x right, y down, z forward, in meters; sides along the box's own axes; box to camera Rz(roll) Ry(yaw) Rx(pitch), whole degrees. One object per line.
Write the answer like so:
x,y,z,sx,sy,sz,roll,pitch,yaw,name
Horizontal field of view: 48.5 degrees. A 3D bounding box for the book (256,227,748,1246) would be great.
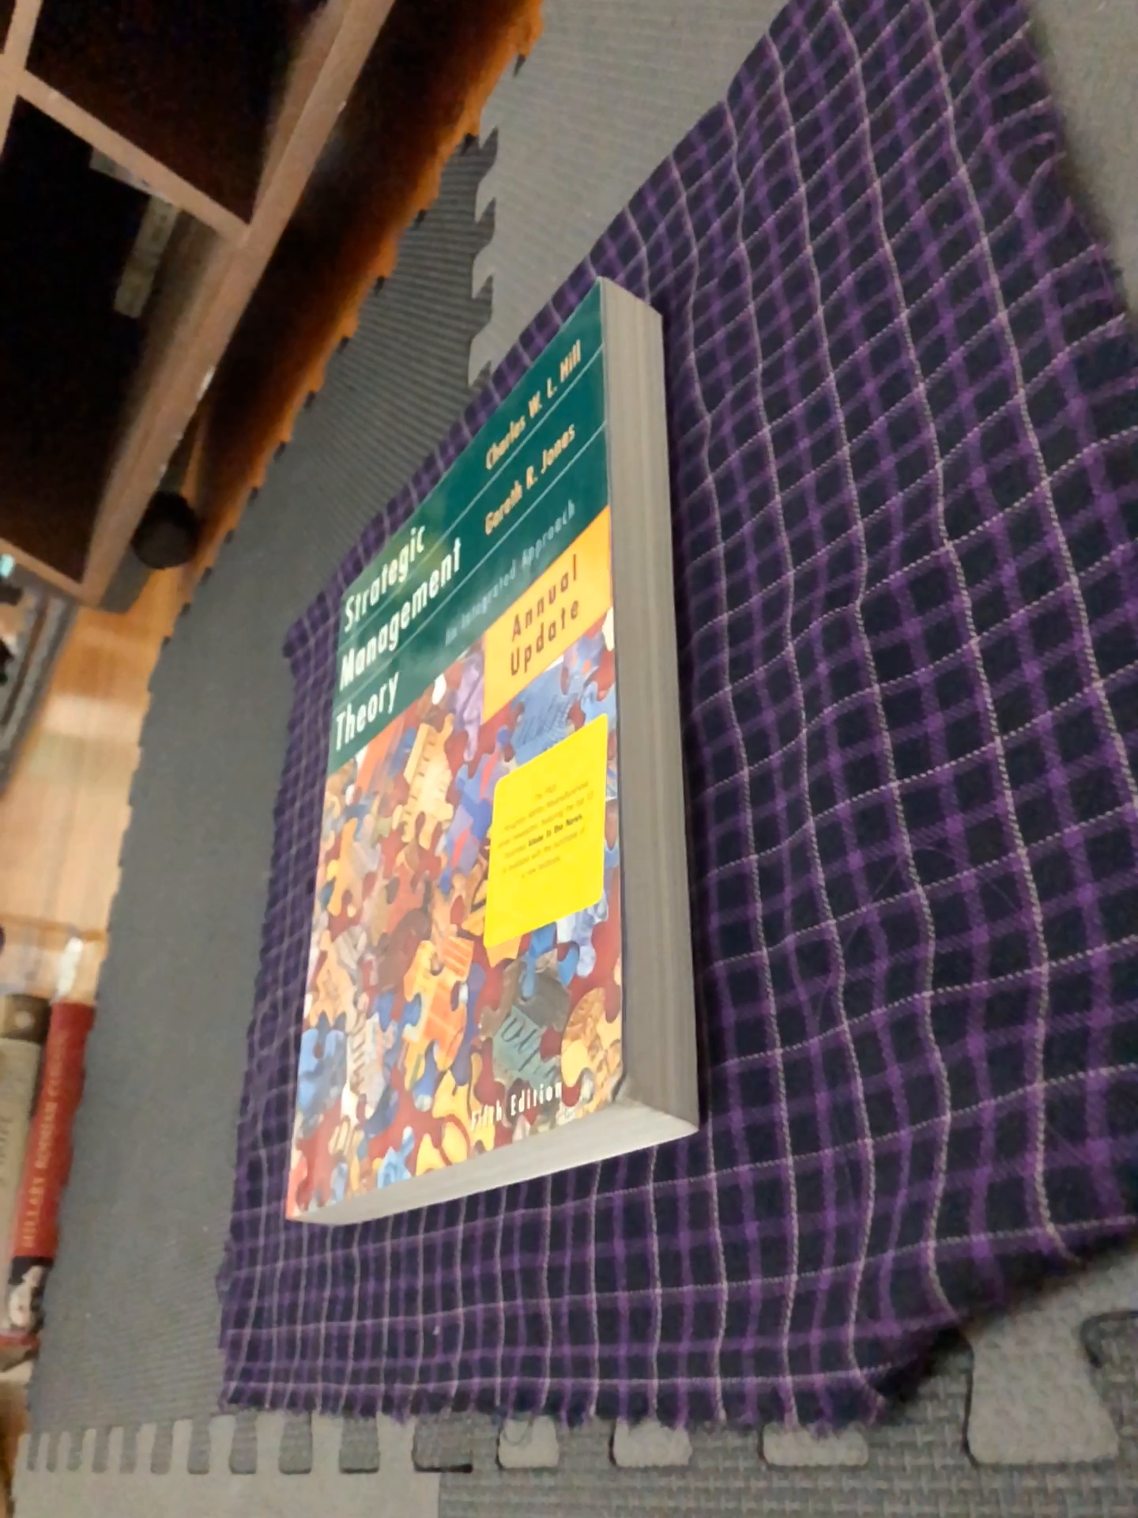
-0.038,0.007,0.434,0.231,0.040,0.281,-37,47,50,book
